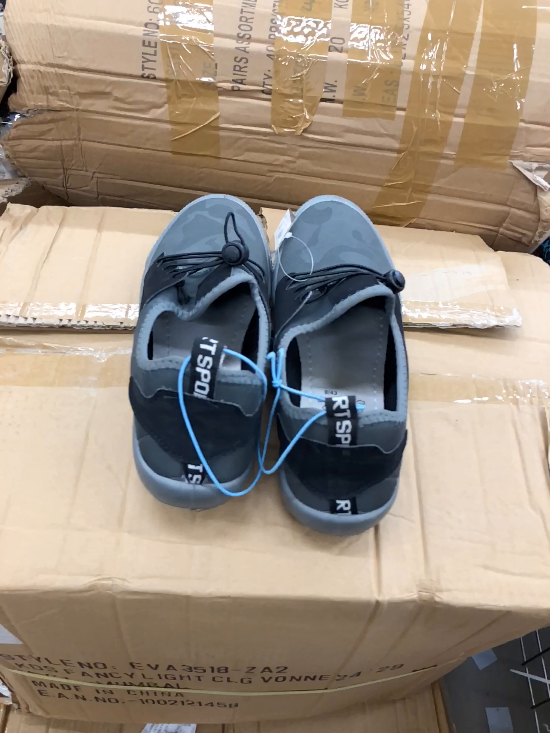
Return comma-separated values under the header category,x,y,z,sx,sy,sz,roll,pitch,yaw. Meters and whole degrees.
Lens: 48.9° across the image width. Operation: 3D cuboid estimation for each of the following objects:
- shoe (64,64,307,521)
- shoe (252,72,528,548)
category,x,y,z,sx,sy,sz,roll,pitch,yaw
shoe,-0.051,-0.065,0.429,0.110,0.149,0.302,2,51,-5
shoe,0.052,-0.054,0.401,0.110,0.129,0.302,5,51,-3
